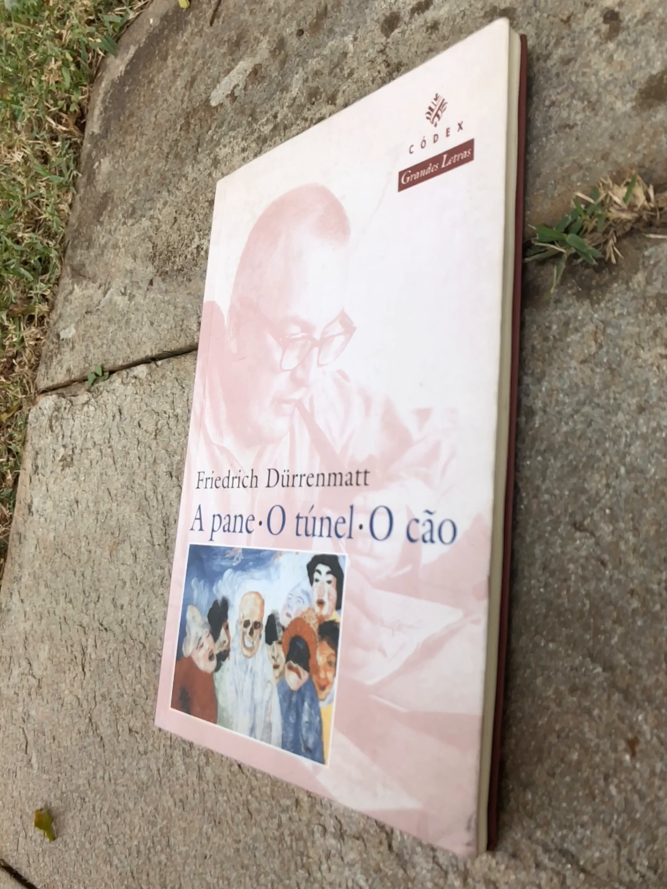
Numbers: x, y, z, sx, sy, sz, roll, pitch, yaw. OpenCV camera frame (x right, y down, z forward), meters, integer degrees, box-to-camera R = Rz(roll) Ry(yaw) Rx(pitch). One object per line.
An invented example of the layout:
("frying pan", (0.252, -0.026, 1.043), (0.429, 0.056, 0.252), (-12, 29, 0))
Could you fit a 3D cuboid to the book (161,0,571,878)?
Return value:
("book", (0.002, -0.007, 0.229), (0.138, 0.020, 0.210), (-4, 79, 47))
